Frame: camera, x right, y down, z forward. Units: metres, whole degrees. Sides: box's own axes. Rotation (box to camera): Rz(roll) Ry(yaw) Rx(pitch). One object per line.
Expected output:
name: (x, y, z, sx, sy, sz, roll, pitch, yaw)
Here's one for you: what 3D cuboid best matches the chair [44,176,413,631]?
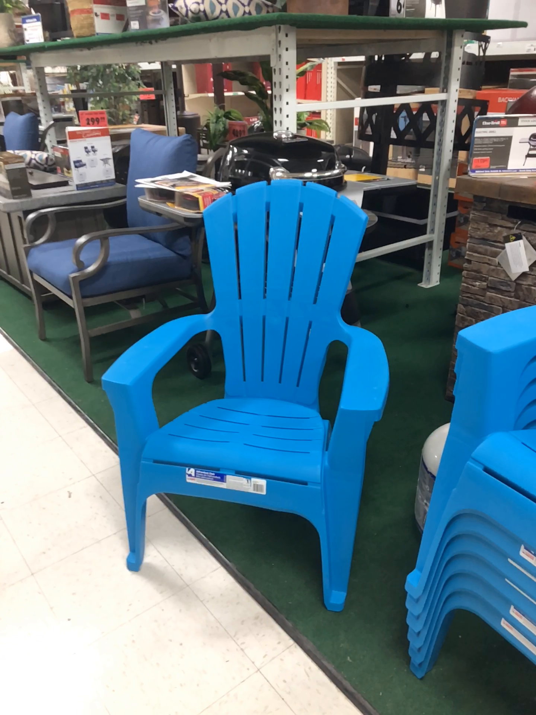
chair: (-0.018, 0.060, 1.562, 0.681, 0.931, 0.650, 6, 27, 14)
